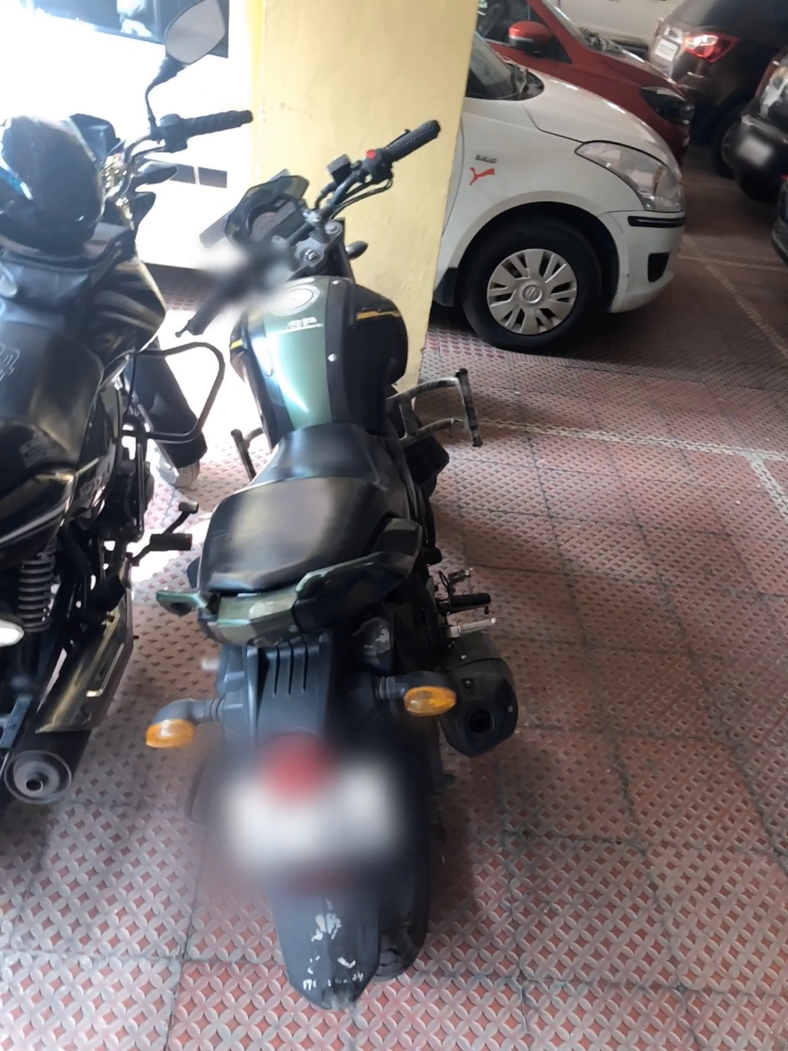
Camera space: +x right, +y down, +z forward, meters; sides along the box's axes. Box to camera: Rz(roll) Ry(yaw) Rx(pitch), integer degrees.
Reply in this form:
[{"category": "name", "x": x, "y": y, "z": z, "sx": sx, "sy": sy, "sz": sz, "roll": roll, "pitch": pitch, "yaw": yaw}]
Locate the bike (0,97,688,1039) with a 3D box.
[{"category": "bike", "x": -0.291, "y": -0.133, "z": 1.790, "sx": 0.738, "sy": 1.090, "sz": 1.817, "roll": 3, "pitch": 33, "yaw": -10}]
